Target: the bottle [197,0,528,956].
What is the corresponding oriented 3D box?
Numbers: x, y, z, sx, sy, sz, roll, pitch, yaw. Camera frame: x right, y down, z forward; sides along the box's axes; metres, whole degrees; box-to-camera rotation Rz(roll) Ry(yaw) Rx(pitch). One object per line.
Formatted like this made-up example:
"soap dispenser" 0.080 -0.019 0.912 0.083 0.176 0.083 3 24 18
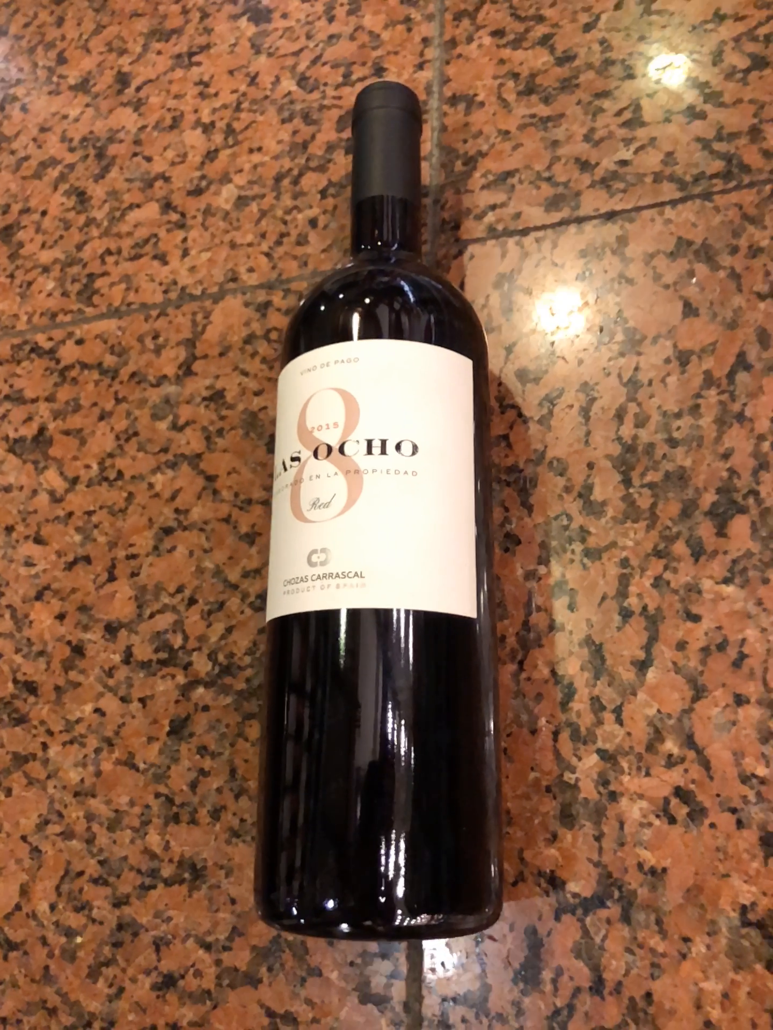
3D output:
"bottle" -0.004 -0.038 0.312 0.080 0.070 0.341 -7 72 21
